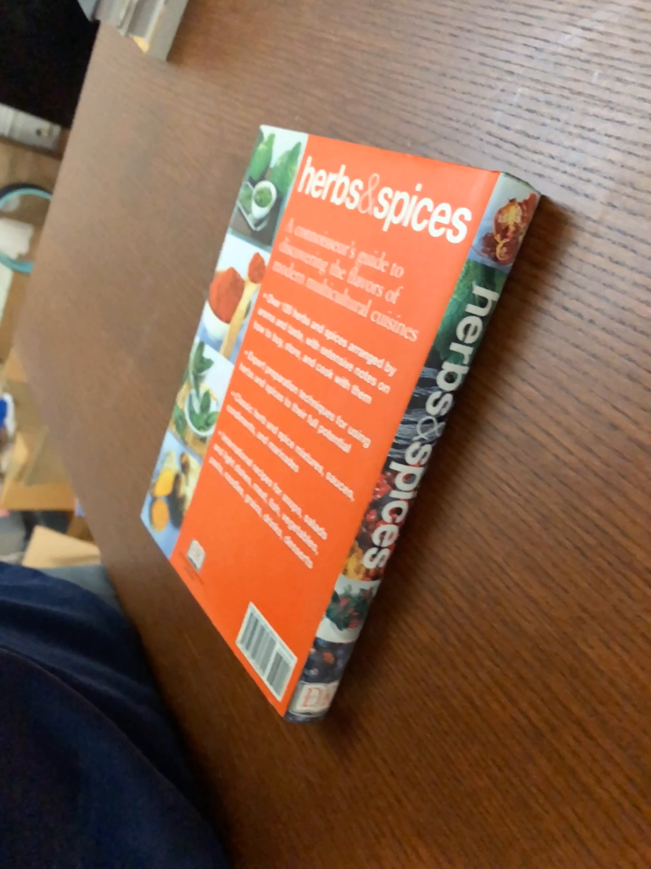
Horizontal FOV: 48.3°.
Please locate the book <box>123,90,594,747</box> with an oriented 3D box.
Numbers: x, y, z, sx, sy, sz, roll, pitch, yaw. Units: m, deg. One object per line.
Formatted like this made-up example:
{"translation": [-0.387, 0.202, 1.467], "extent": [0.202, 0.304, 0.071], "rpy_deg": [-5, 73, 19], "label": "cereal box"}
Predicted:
{"translation": [-0.016, -0.024, 0.377], "extent": [0.211, 0.040, 0.270], "rpy_deg": [39, 114, 48], "label": "book"}
